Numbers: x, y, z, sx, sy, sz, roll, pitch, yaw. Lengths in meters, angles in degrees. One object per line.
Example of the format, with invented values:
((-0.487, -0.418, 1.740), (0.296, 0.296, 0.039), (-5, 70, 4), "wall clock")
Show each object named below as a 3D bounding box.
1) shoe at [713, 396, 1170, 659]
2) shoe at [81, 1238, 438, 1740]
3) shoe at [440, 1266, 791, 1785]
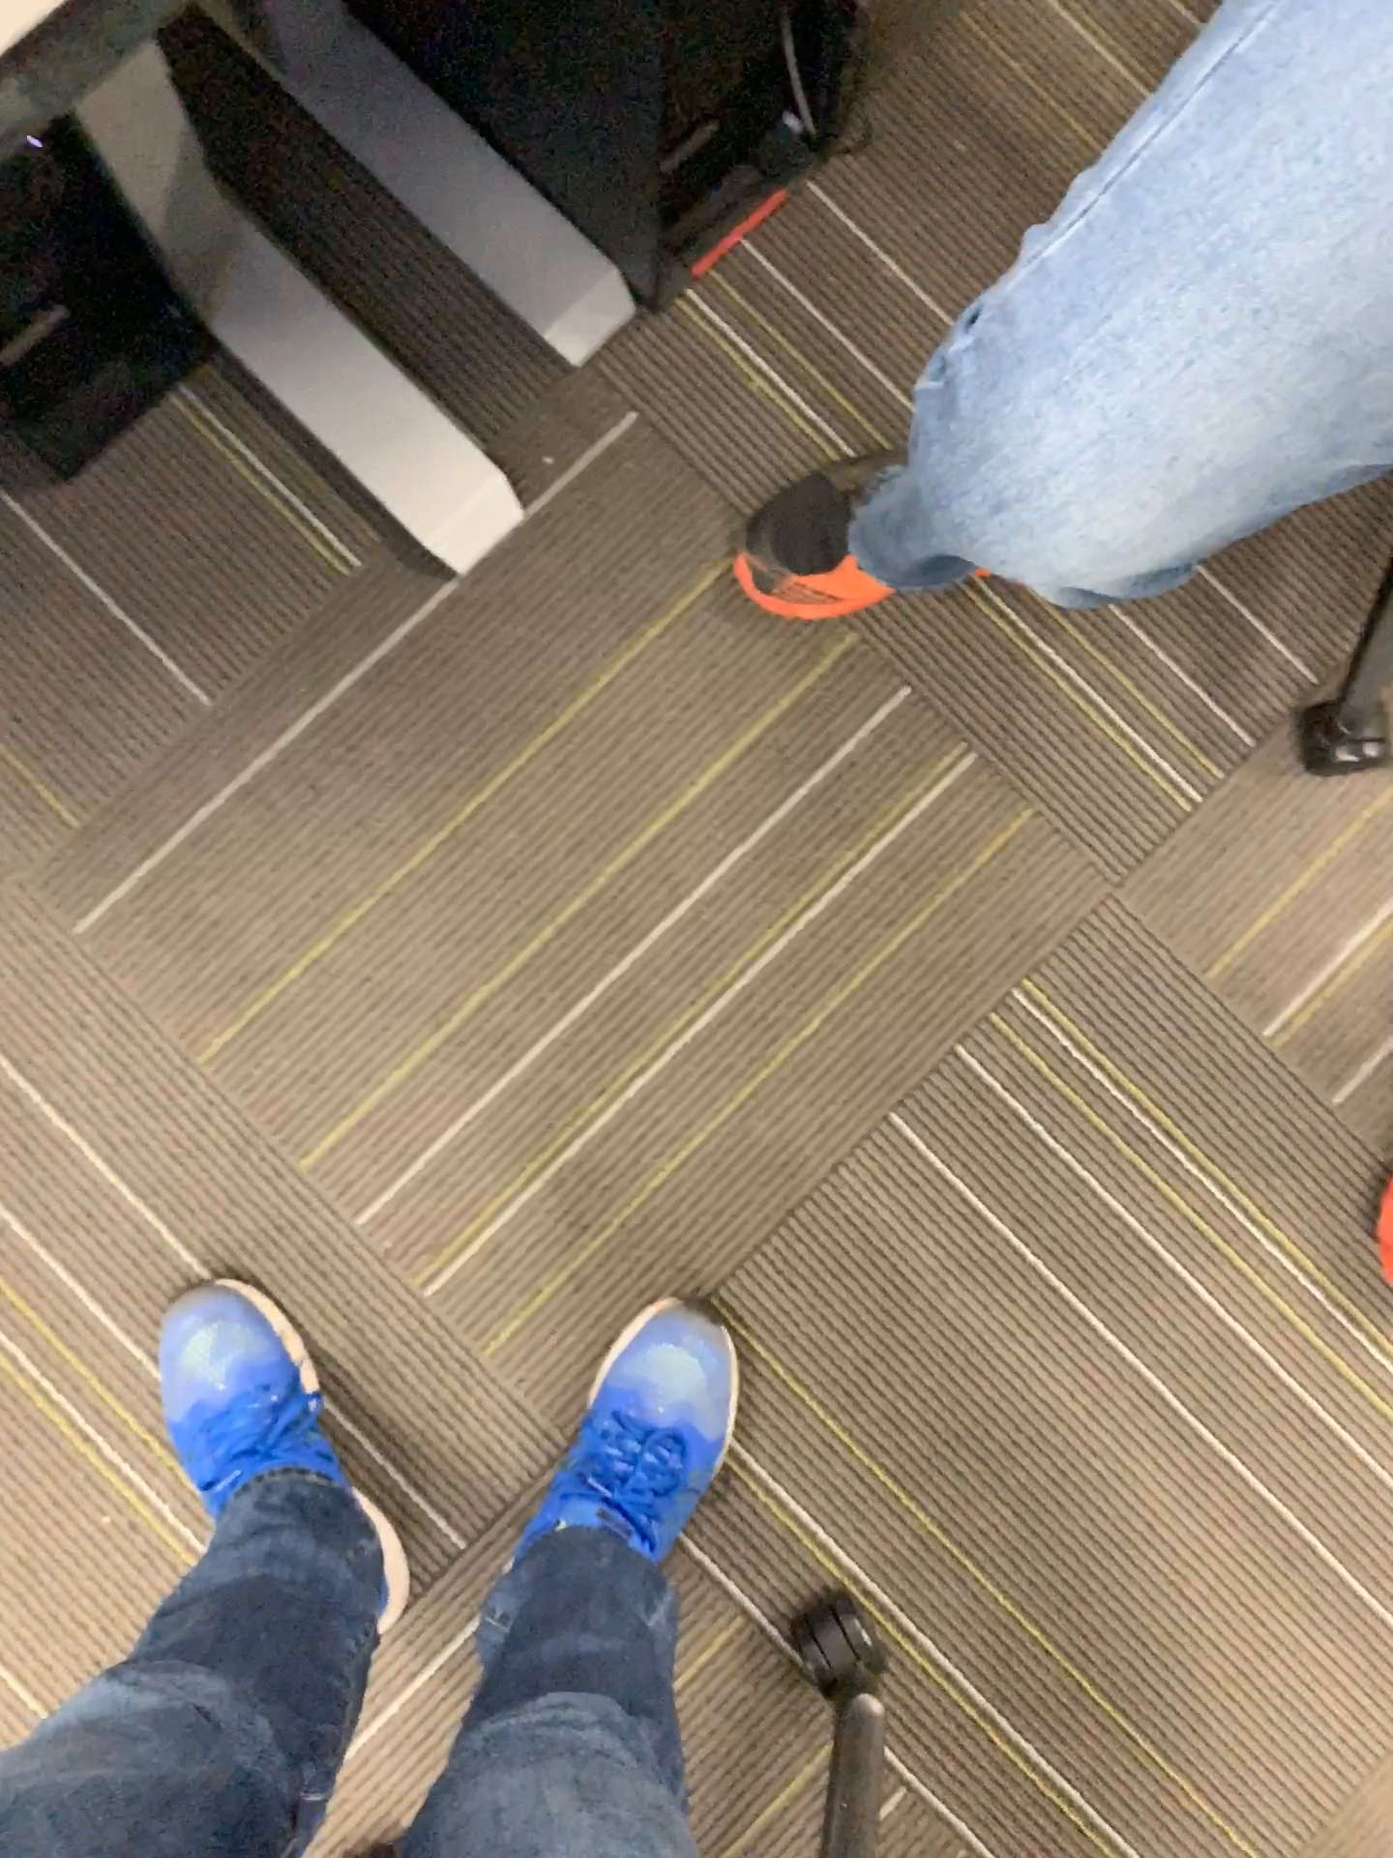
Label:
((0.175, -0.294, 1.051), (0.304, 0.088, 0.117), (-12, 107, 1), "shoe")
((-0.317, 0.410, 1.064), (0.141, 0.088, 0.310), (-20, 94, -4), "shoe")
((-0.058, 0.442, 1.076), (0.119, 0.088, 0.338), (26, 93, 1), "shoe")
